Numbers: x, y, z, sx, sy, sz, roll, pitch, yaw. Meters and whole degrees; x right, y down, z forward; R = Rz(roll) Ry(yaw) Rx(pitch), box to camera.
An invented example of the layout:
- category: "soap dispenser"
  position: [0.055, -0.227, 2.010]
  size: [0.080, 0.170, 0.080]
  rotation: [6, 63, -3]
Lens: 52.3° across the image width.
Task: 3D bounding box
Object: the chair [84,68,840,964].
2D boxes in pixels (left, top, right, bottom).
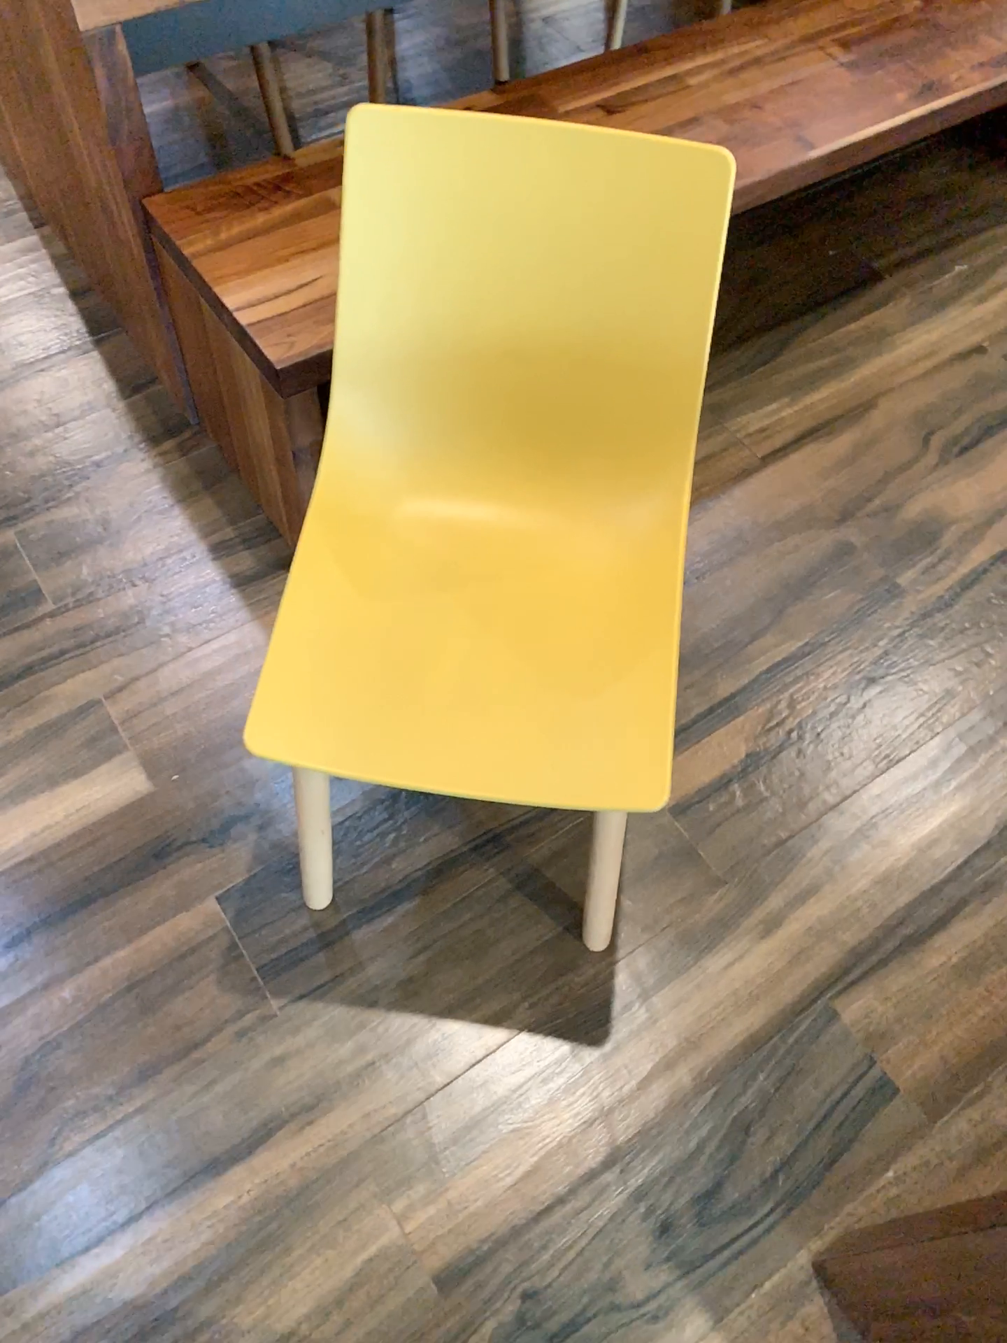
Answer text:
- category: "chair"
  position: [-0.012, -0.091, 1.042]
  size: [0.450, 0.716, 0.503]
  rotation: [7, 57, 2]
